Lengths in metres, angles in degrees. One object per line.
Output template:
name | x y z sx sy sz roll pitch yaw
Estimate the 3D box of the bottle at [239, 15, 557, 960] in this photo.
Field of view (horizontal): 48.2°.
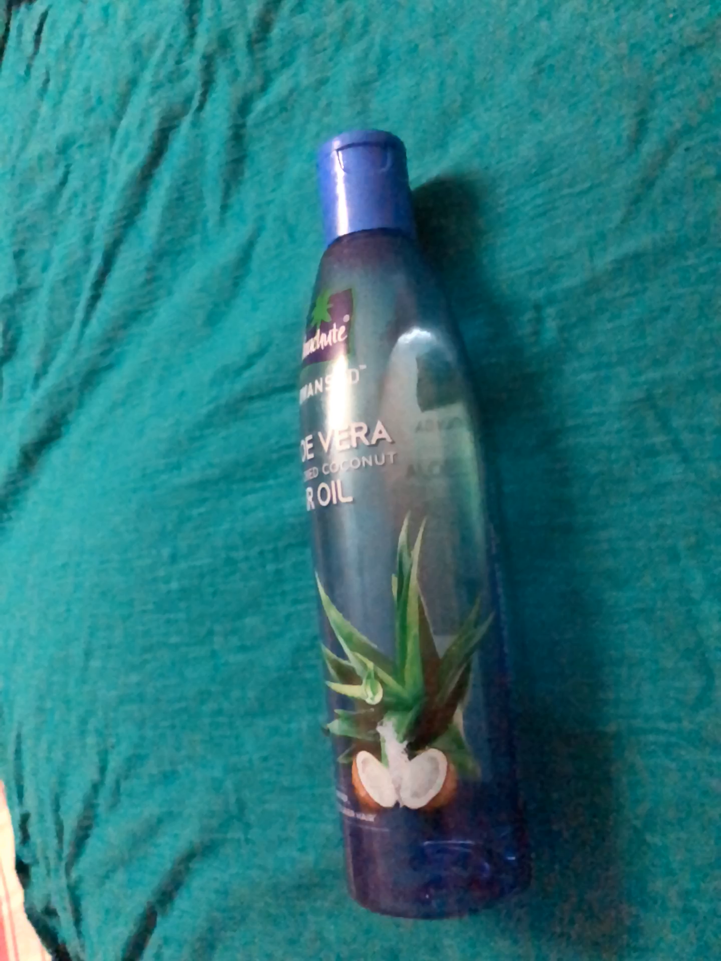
bottle | 0.006 0.000 0.205 0.050 0.040 0.210 -12 79 48
